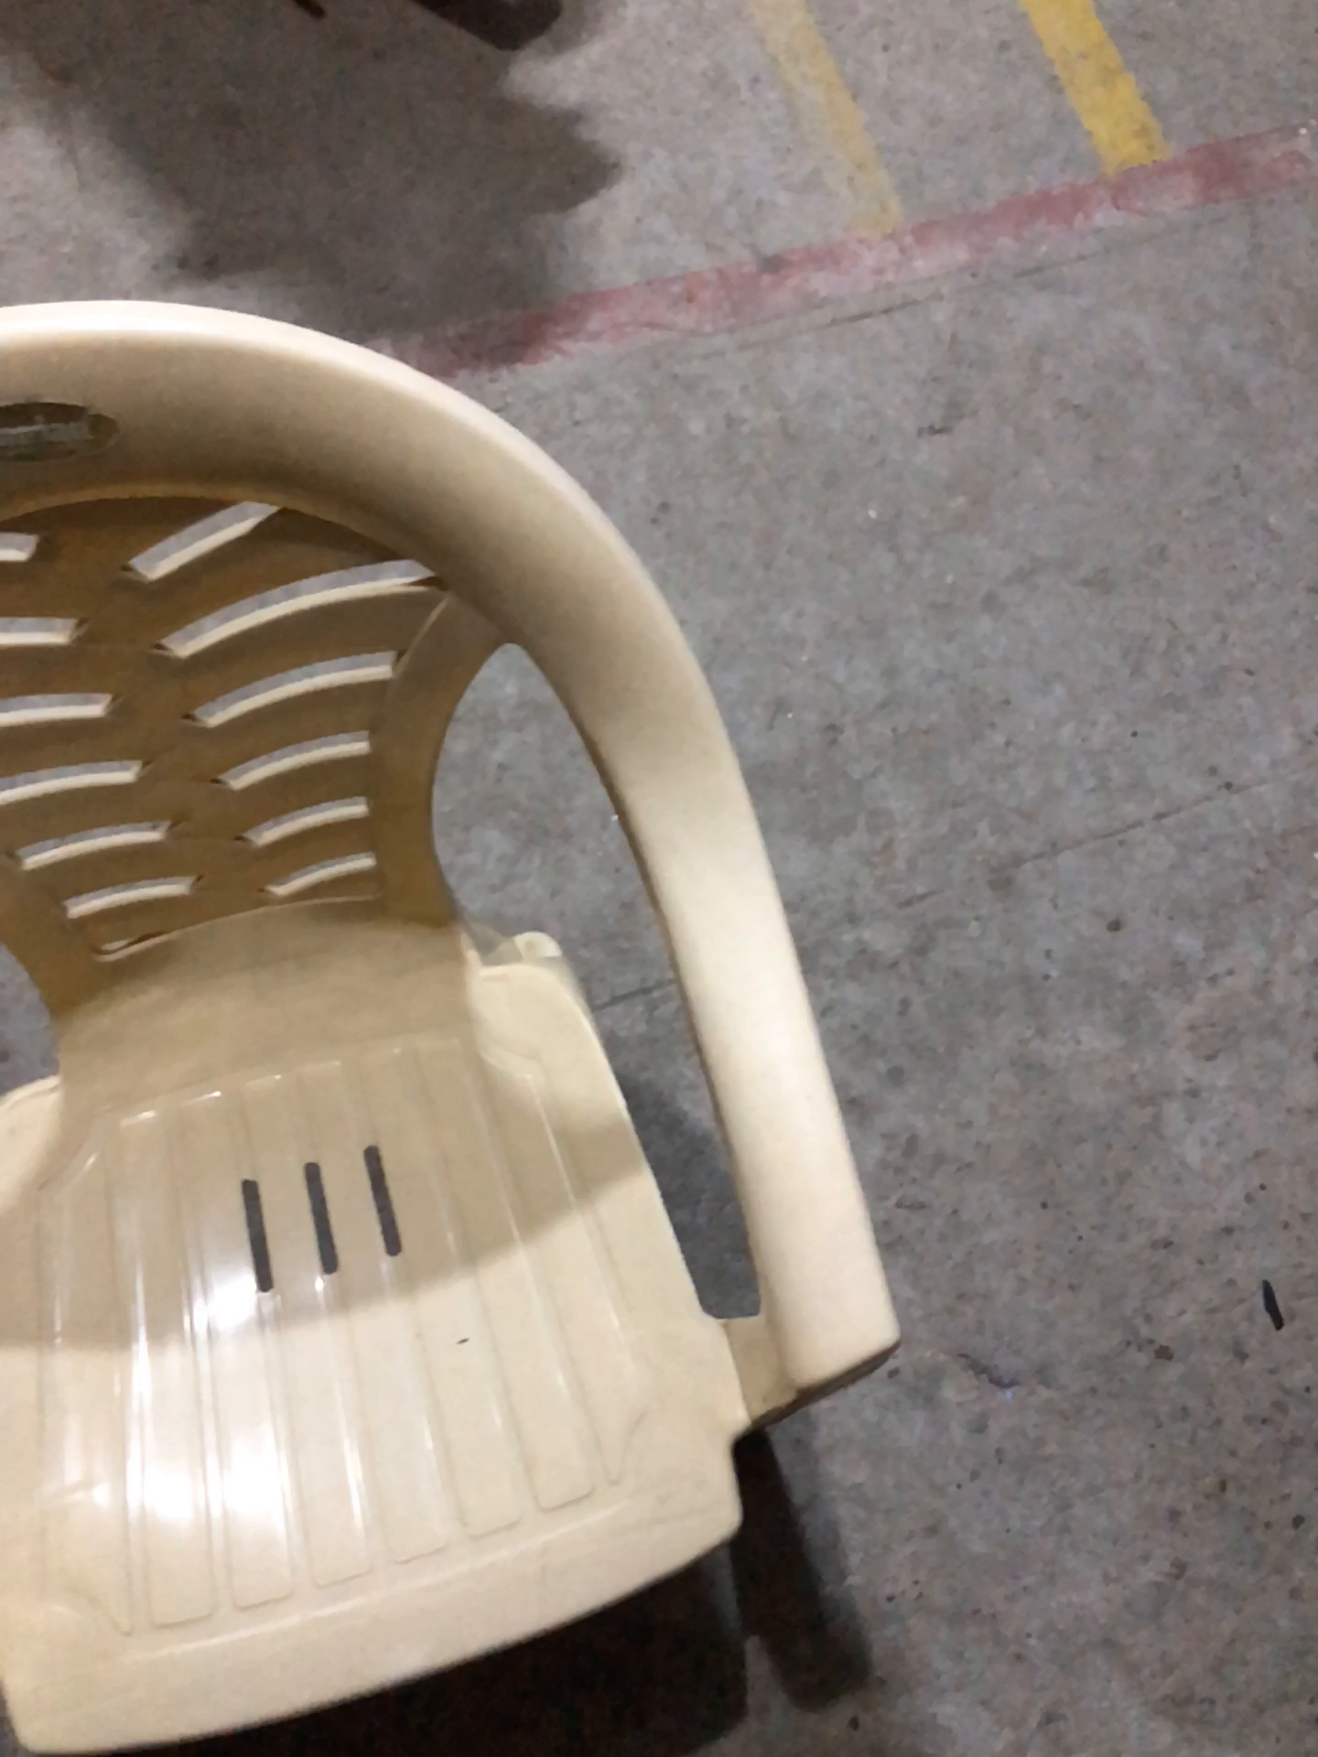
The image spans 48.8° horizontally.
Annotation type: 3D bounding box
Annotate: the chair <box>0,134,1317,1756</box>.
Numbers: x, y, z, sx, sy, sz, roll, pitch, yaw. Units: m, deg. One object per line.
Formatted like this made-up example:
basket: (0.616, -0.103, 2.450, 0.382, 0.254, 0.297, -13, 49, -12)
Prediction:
chair: (-0.203, 0.183, 0.789, 0.561, 0.868, 0.561, -11, 76, -9)
